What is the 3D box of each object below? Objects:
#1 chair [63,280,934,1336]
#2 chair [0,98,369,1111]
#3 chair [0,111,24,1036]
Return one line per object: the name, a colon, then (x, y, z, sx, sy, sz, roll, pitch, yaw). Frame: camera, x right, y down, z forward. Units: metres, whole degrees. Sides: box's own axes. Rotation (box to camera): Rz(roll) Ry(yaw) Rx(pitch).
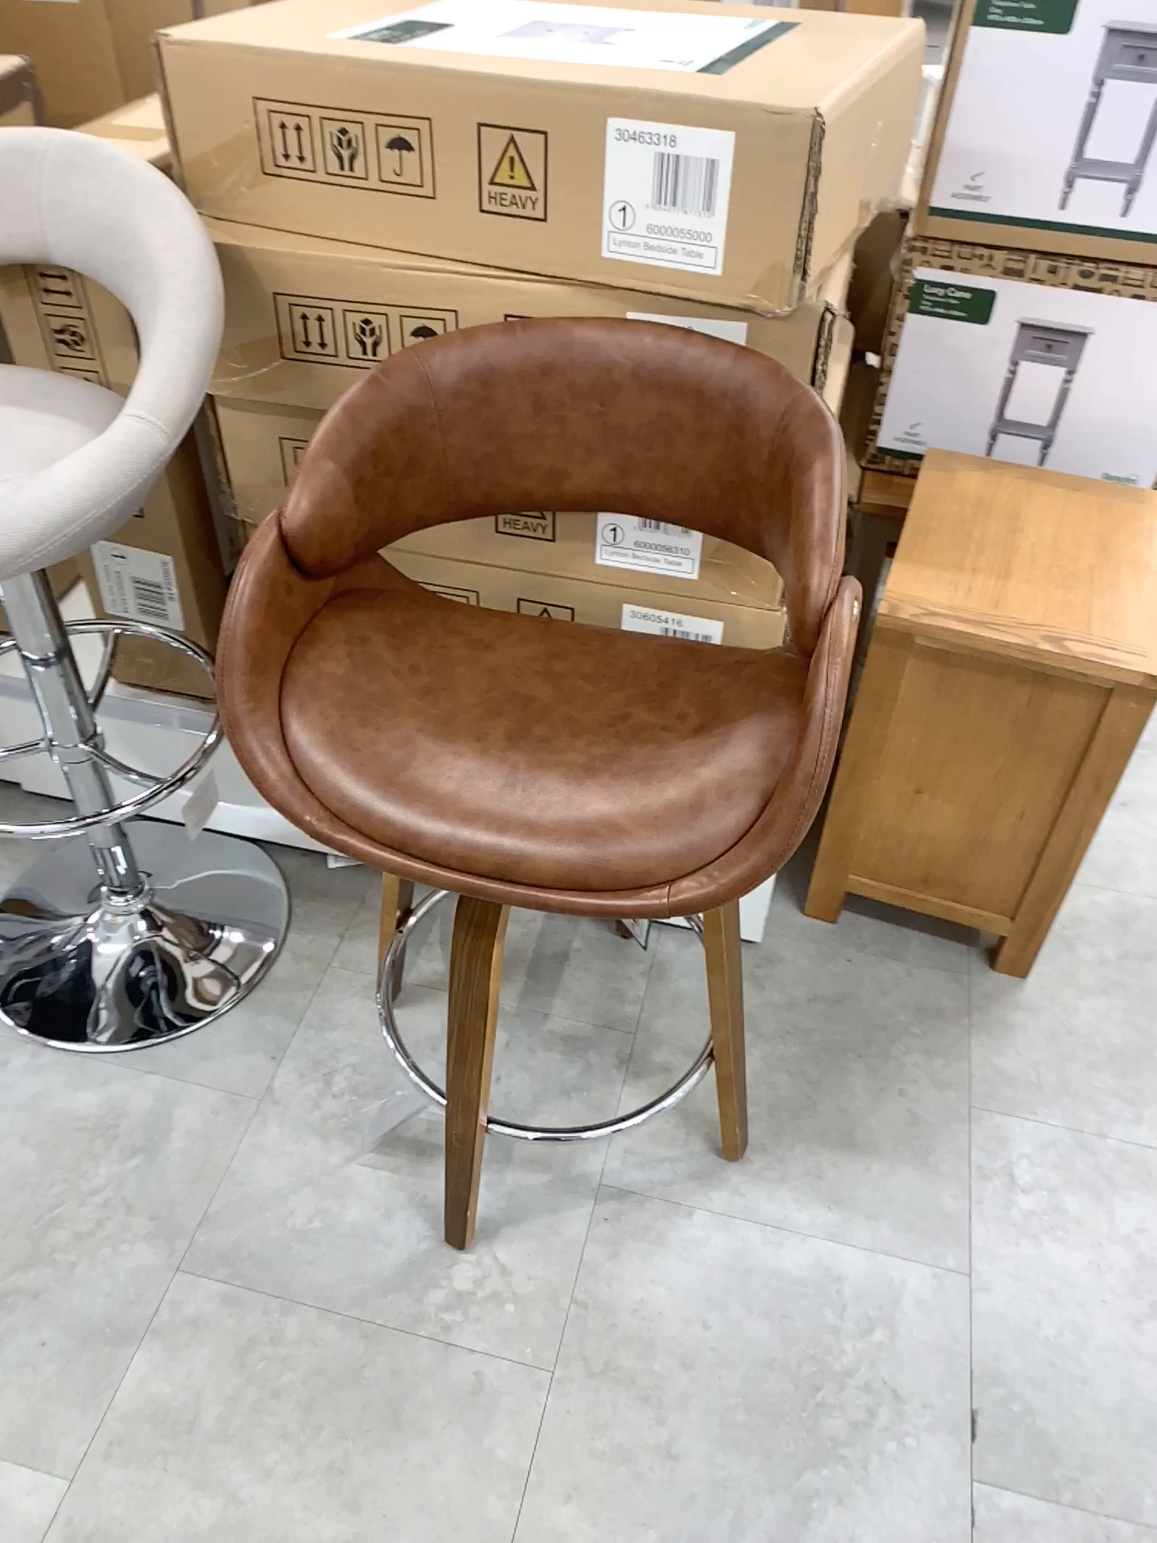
chair: (-0.022, 0.056, 1.221, 0.544, 0.846, 0.555, 12, 43, 10)
chair: (-0.603, -0.149, 1.345, 0.494, 0.945, 0.524, 10, 43, 8)
chair: (-1.128, -0.194, 1.380, 0.494, 0.886, 0.474, 10, 43, 8)
